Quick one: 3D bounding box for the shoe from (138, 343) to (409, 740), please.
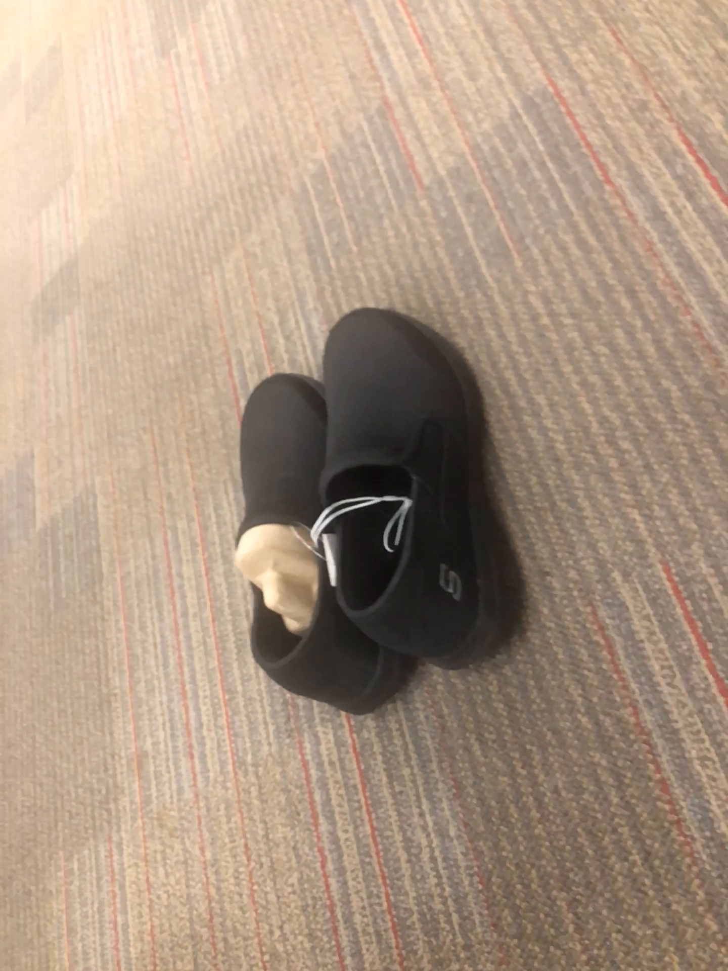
[{"bbox_3d":[-0.077,0.042,0.606,0.117,0.105,0.258,-35,54,29],"label":"shoe"}]

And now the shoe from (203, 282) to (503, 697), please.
[{"bbox_3d":[-0.017,0.005,0.570,0.120,0.109,0.248,-34,55,30],"label":"shoe"}]
